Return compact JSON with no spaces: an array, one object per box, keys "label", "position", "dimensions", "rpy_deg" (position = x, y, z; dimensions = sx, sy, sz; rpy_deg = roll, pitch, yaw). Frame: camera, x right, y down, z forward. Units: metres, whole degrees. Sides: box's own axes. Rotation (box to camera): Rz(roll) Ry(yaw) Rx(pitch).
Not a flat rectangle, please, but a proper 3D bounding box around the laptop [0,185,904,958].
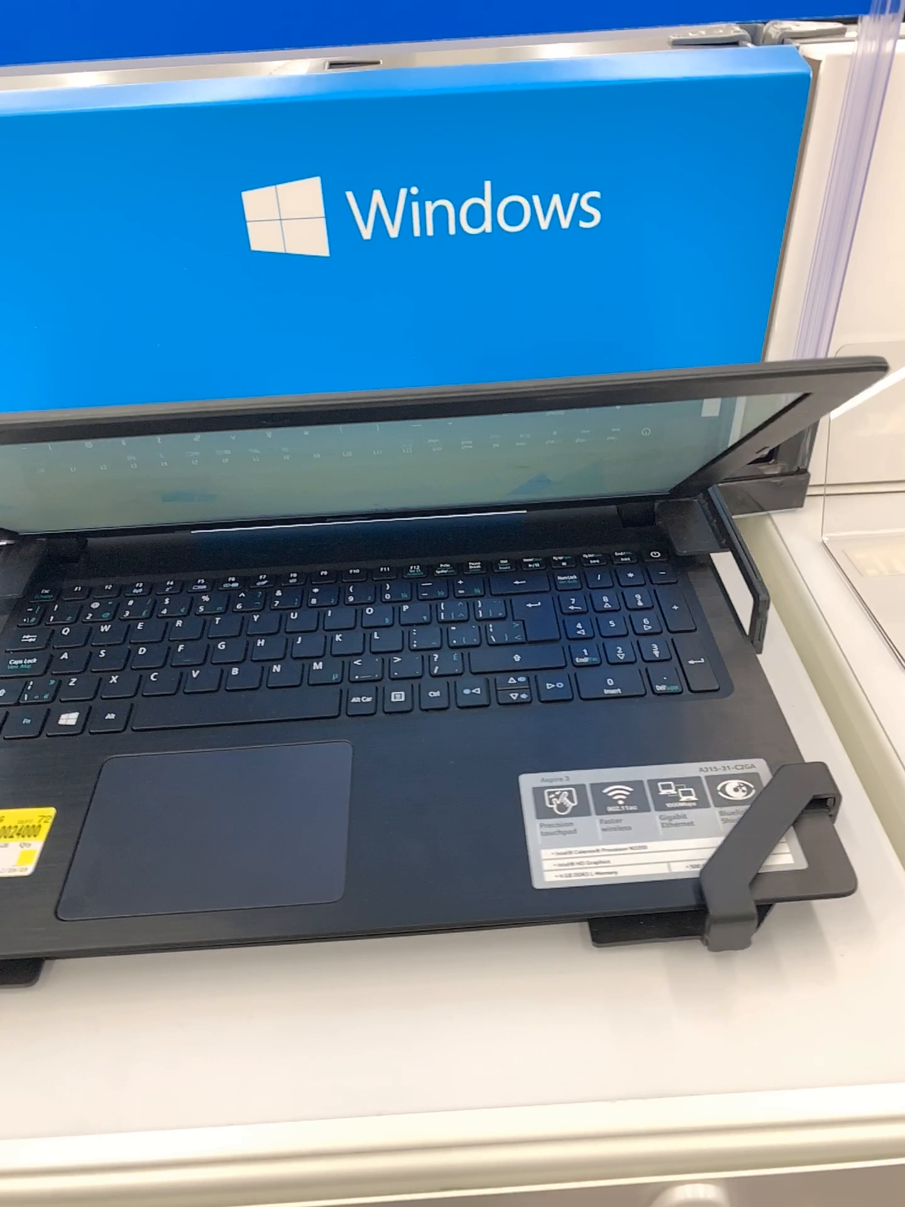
[{"label":"laptop","position":[-0.048,-0.030,0.342],"dimensions":[0.344,0.157,0.234],"rpy_deg":[-3,38,0]}]
